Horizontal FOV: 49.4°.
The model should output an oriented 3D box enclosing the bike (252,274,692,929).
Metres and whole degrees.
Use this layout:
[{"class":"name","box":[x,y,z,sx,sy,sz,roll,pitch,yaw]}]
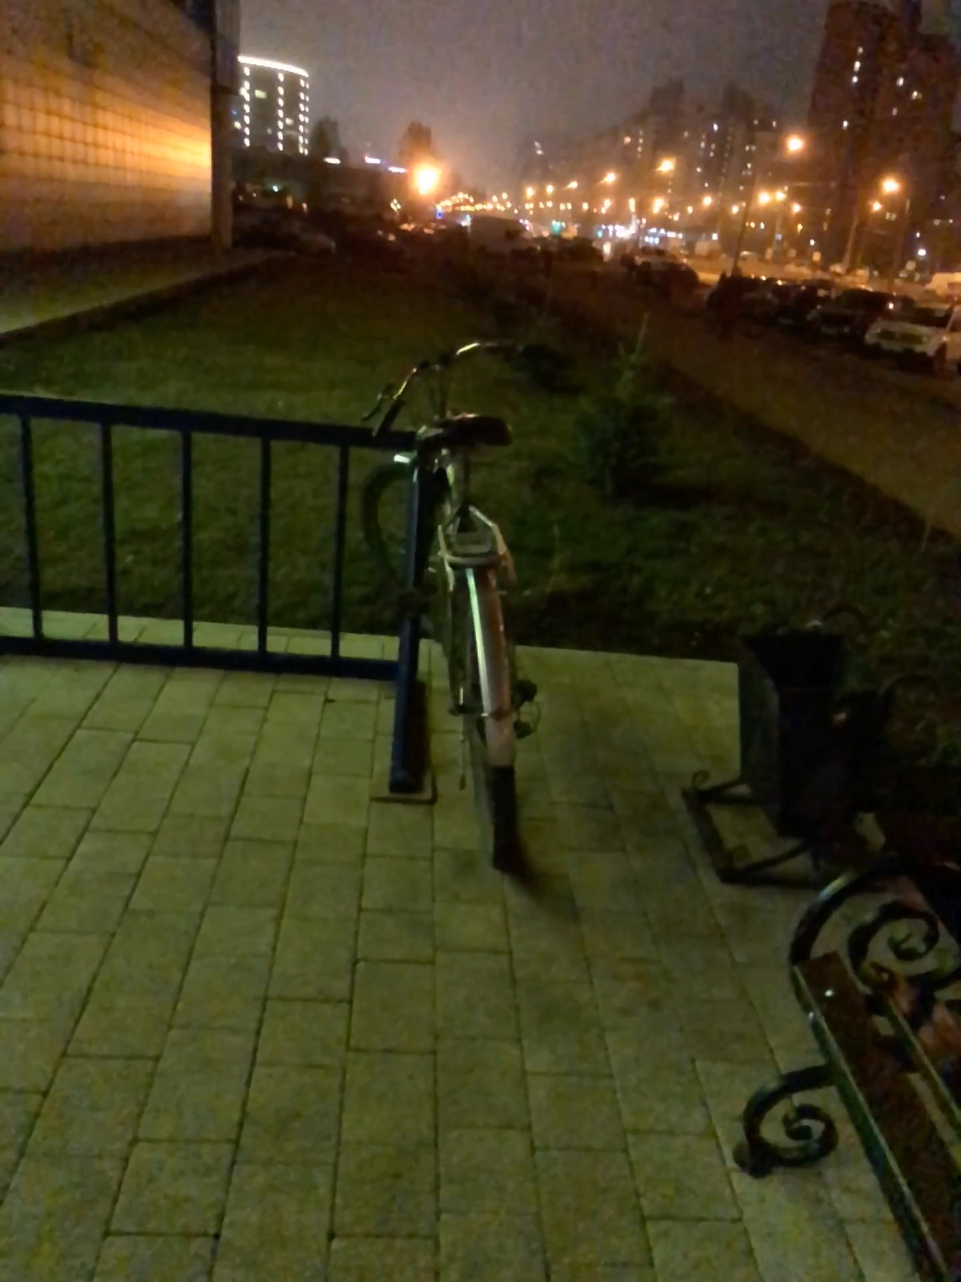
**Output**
[{"class":"bike","box":[-0.208,-0.266,2.737,0.679,1.046,1.726,0,25,-14]}]
